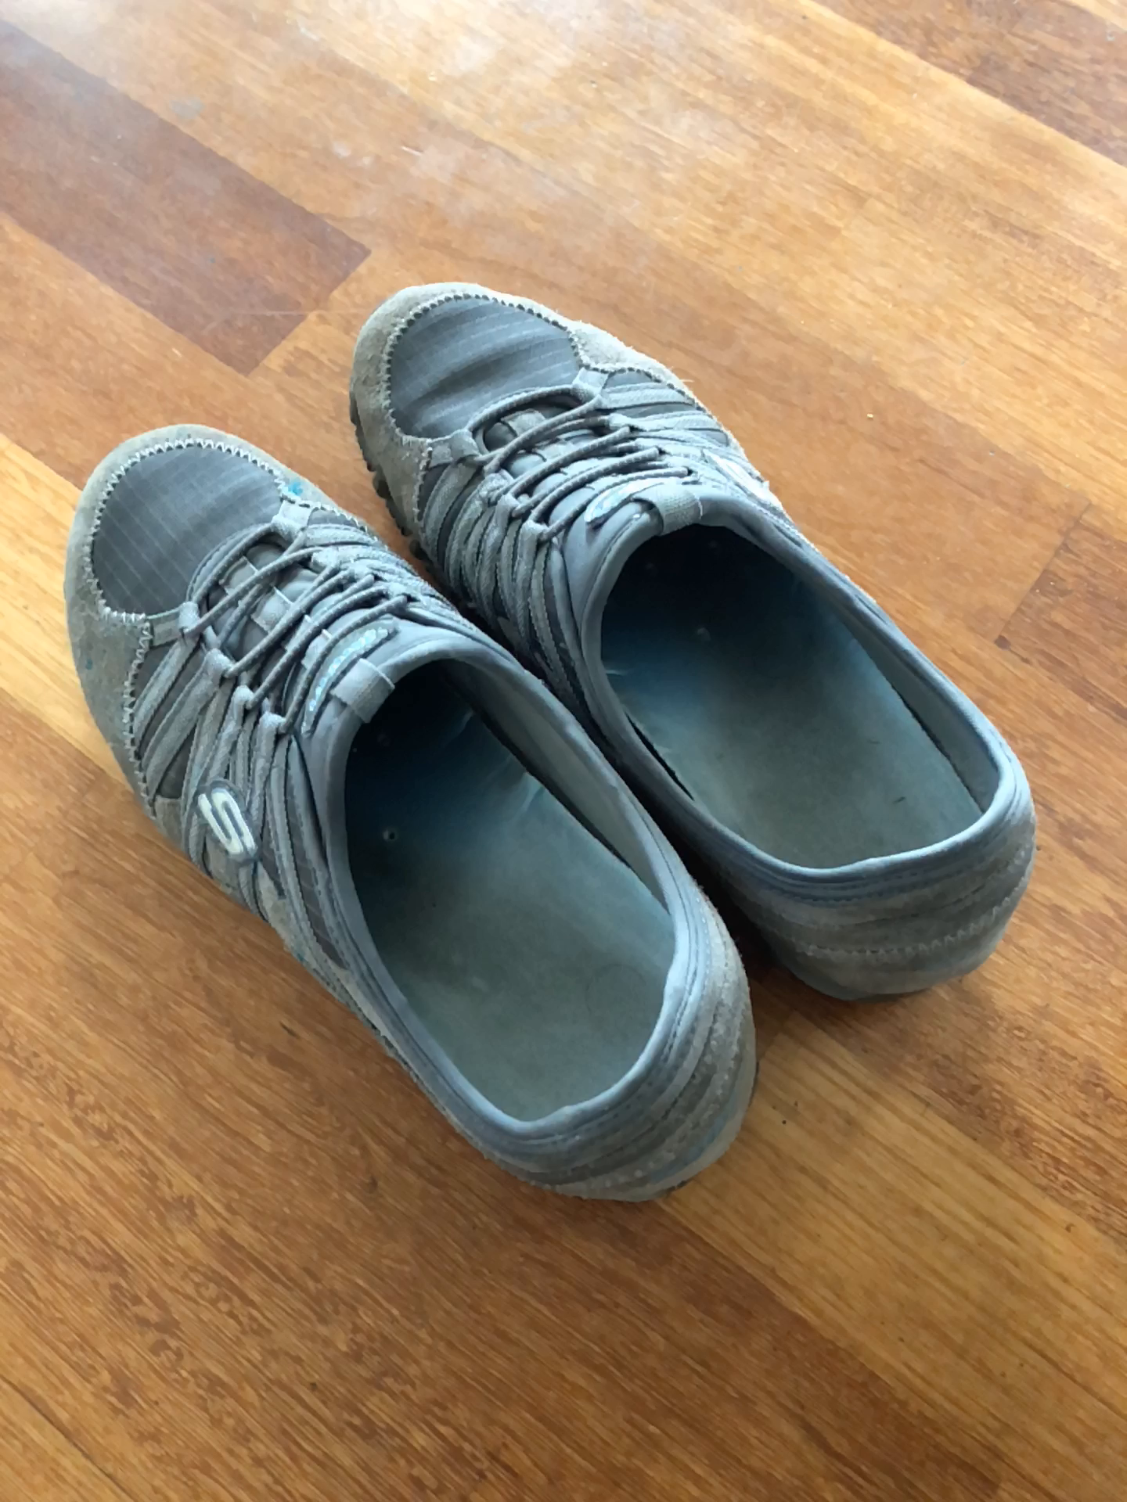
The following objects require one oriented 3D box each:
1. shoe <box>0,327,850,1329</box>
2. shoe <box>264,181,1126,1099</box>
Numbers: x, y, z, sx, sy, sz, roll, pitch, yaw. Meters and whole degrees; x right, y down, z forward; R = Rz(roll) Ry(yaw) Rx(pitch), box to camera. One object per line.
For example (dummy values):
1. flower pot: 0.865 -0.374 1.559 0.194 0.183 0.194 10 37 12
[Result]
1. shoe: -0.050 0.019 0.359 0.096 0.106 0.253 -36 74 -13
2. shoe: 0.028 -0.031 0.374 0.093 0.106 0.250 -36 74 -13
